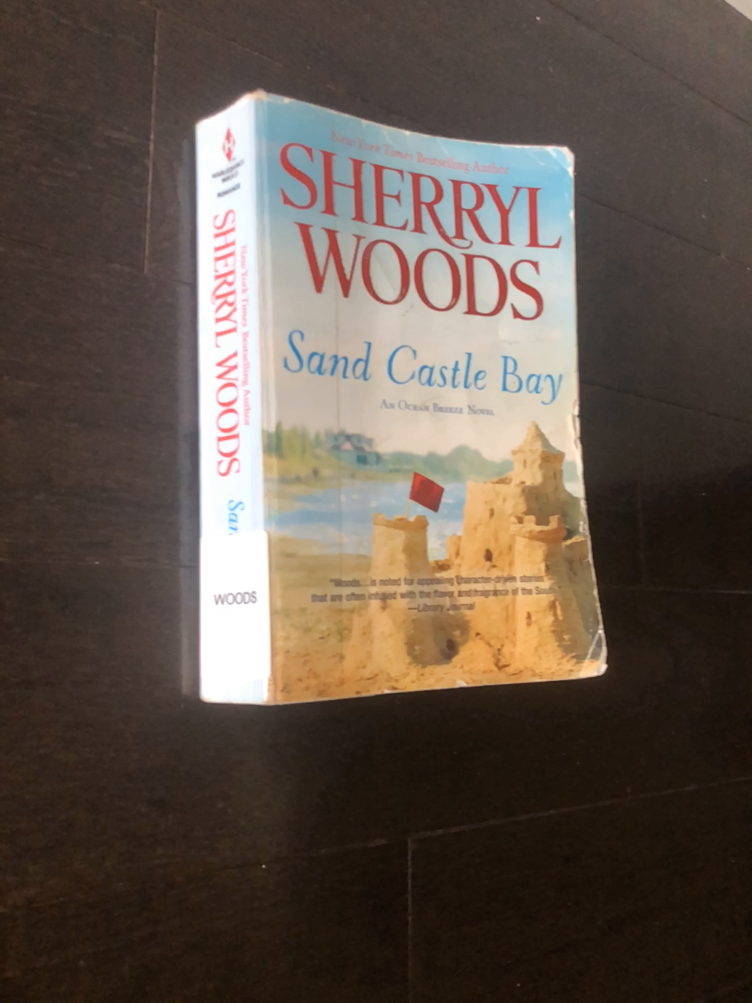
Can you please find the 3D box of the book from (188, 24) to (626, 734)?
[{"bbox_3d":[0.012,-0.027,0.234,0.120,0.037,0.161,2,85,-32],"label":"book"}]
